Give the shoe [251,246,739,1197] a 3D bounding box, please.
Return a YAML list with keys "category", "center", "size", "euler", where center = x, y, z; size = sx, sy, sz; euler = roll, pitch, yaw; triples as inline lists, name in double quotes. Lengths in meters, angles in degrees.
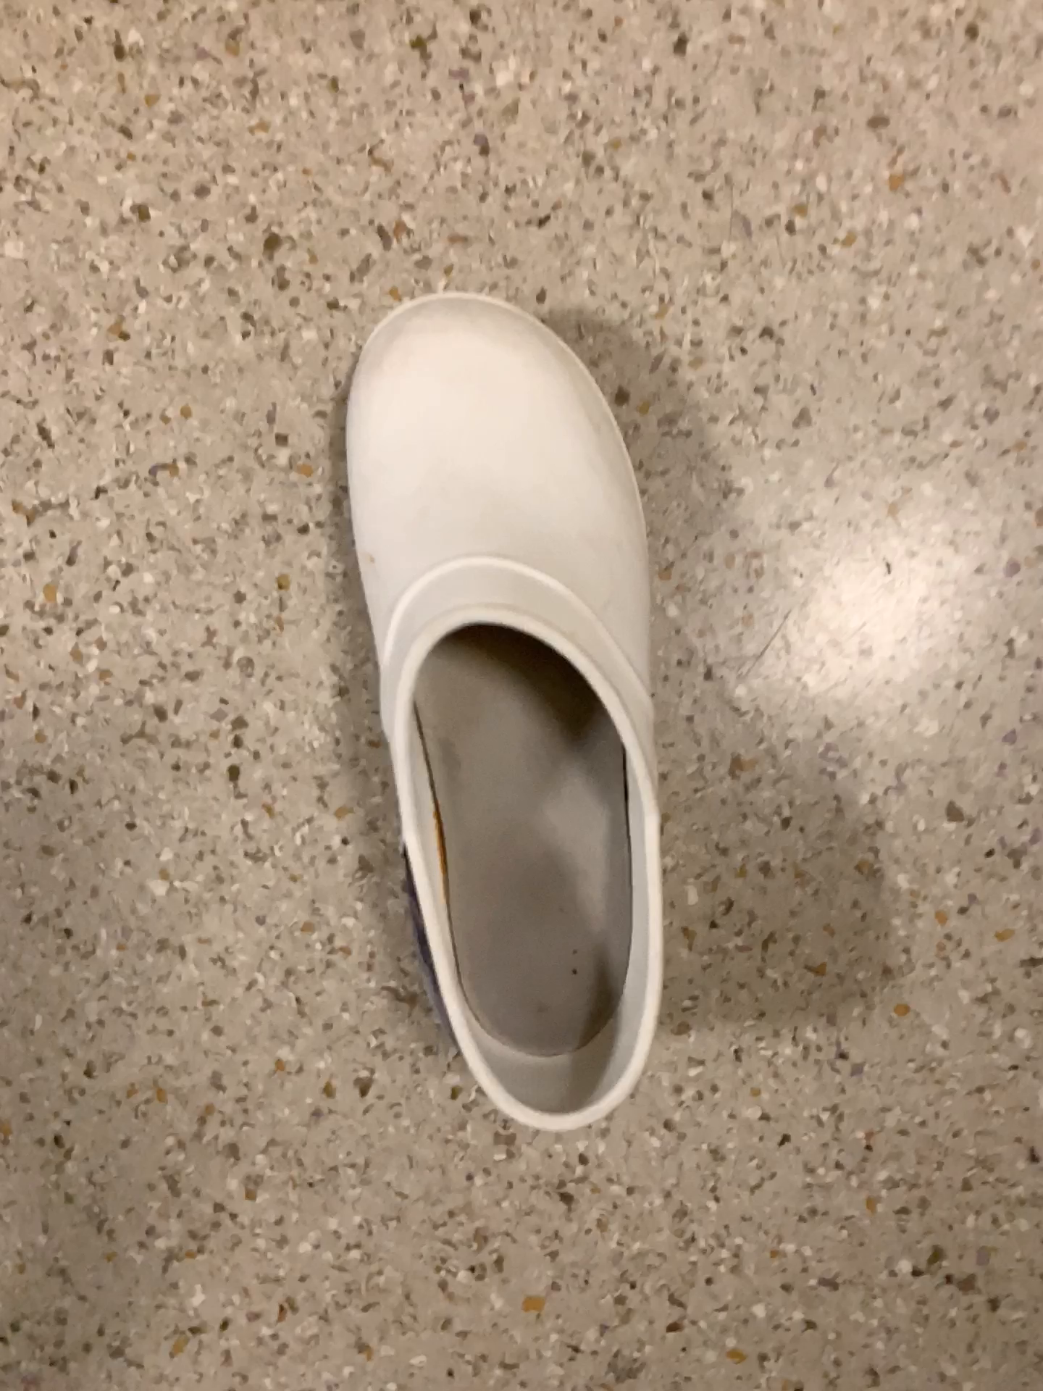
- category: "shoe"
  center: [-0.006, 0.007, 0.346]
  size: [0.107, 0.102, 0.254]
  euler: [-7, 90, 2]
